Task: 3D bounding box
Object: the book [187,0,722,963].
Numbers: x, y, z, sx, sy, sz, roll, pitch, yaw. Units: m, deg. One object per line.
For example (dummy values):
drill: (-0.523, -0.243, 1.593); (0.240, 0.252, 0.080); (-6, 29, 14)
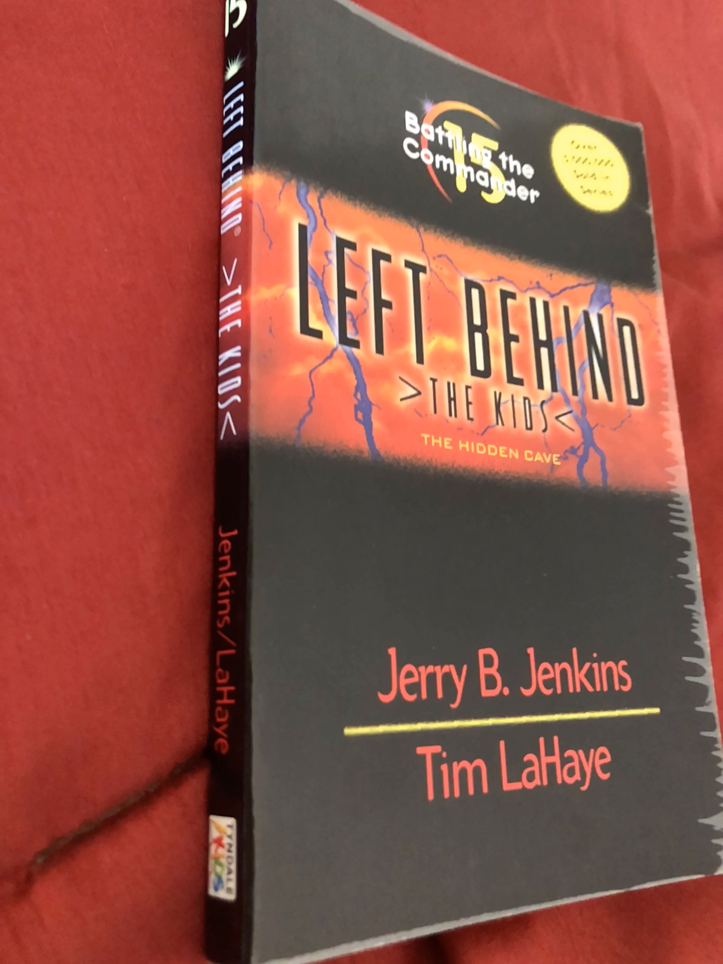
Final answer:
book: (0.025, -0.008, 0.161); (0.111, 0.026, 0.170); (9, 71, -34)
